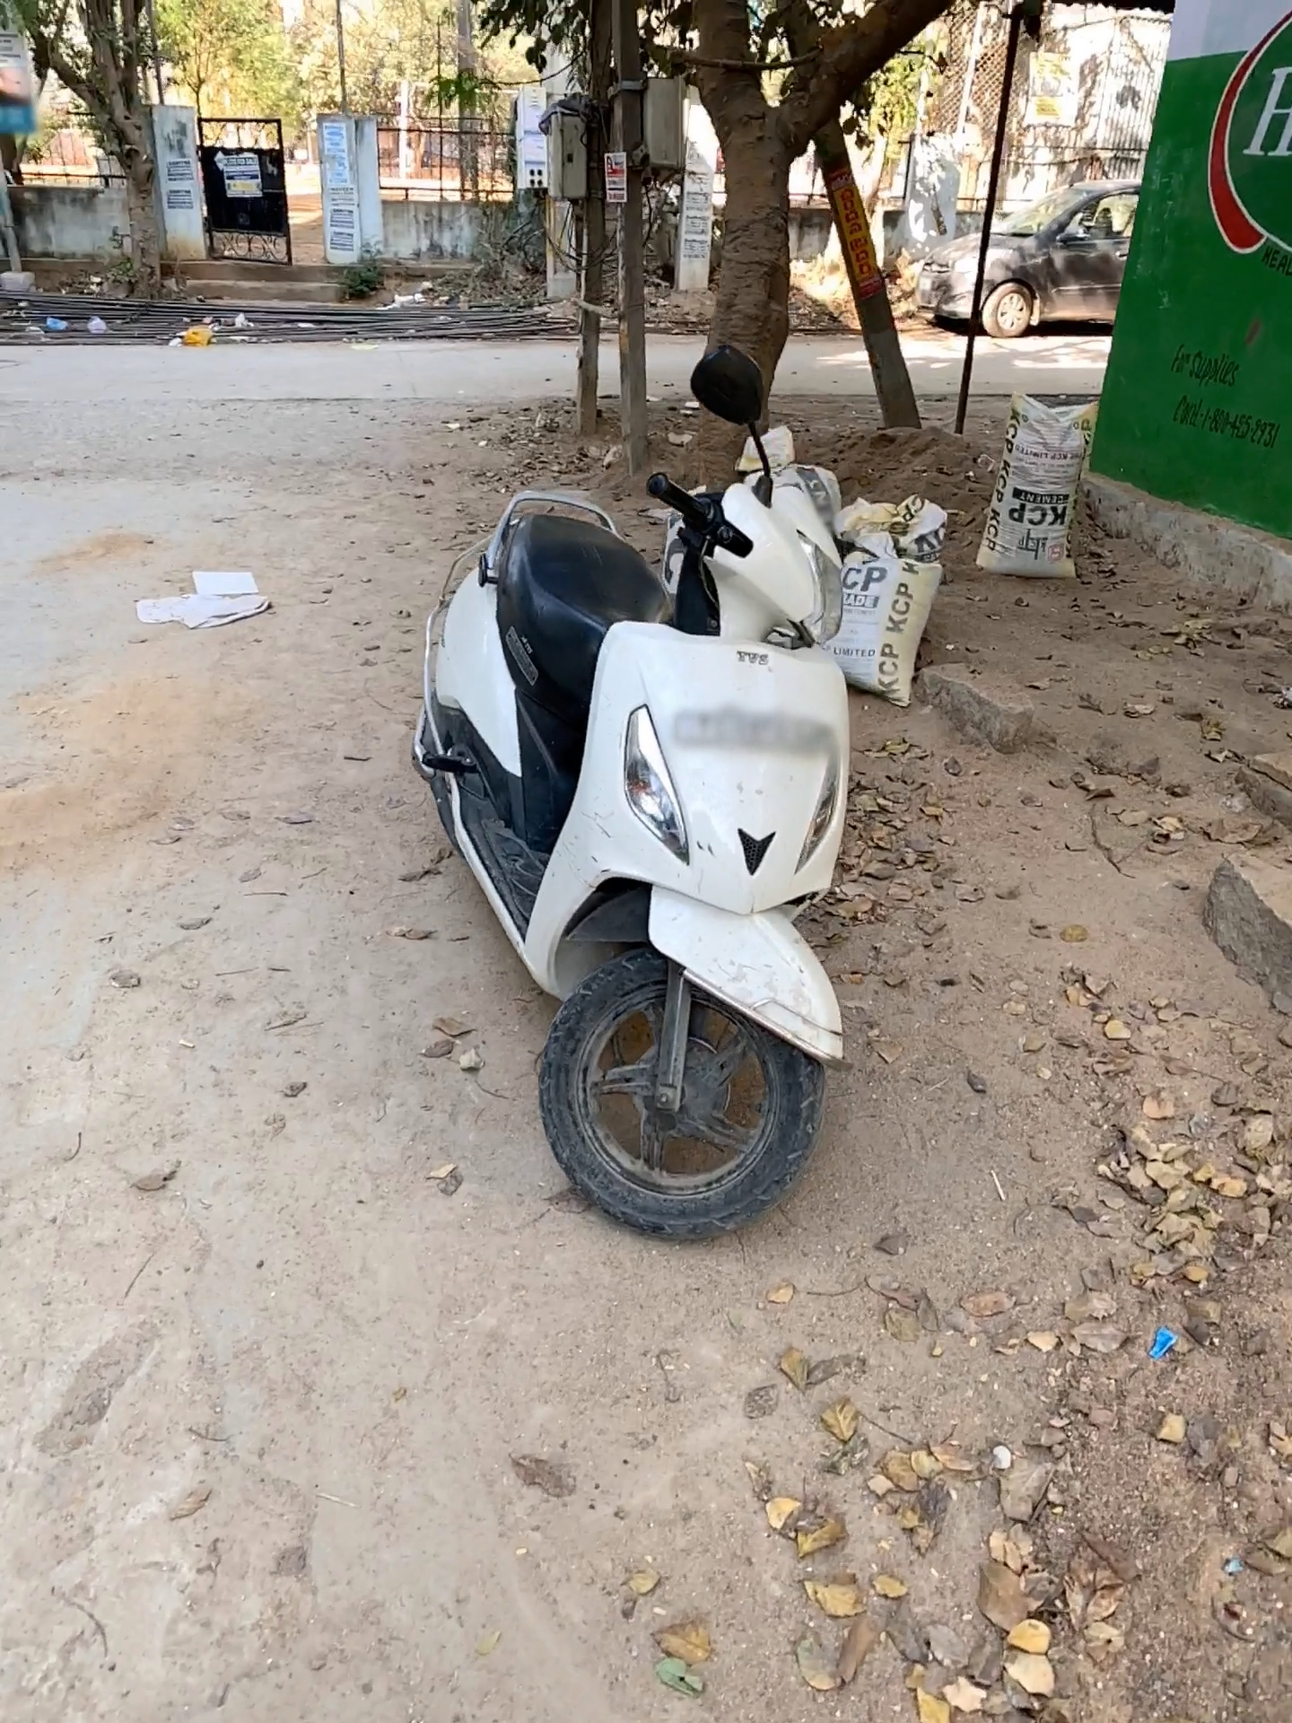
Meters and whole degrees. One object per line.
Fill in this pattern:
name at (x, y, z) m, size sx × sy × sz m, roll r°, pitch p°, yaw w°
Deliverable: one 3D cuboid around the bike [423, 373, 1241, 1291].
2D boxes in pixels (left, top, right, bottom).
bike at (0.155, -0.217, 2.454) m, size 0.686 × 1.066 × 1.466 m, roll -10°, pitch 31°, yaw -23°
